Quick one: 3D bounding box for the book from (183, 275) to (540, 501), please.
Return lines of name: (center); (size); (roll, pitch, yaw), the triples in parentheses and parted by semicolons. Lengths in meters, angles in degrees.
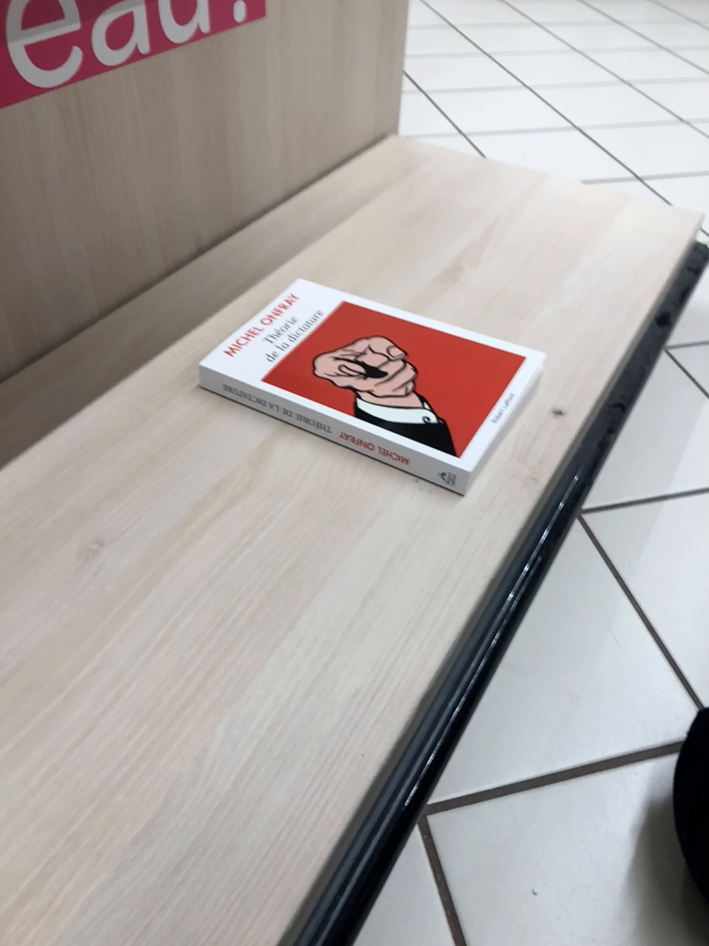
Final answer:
book: (0.007, -0.070, 0.551); (0.207, 0.029, 0.139); (22, 45, 20)
